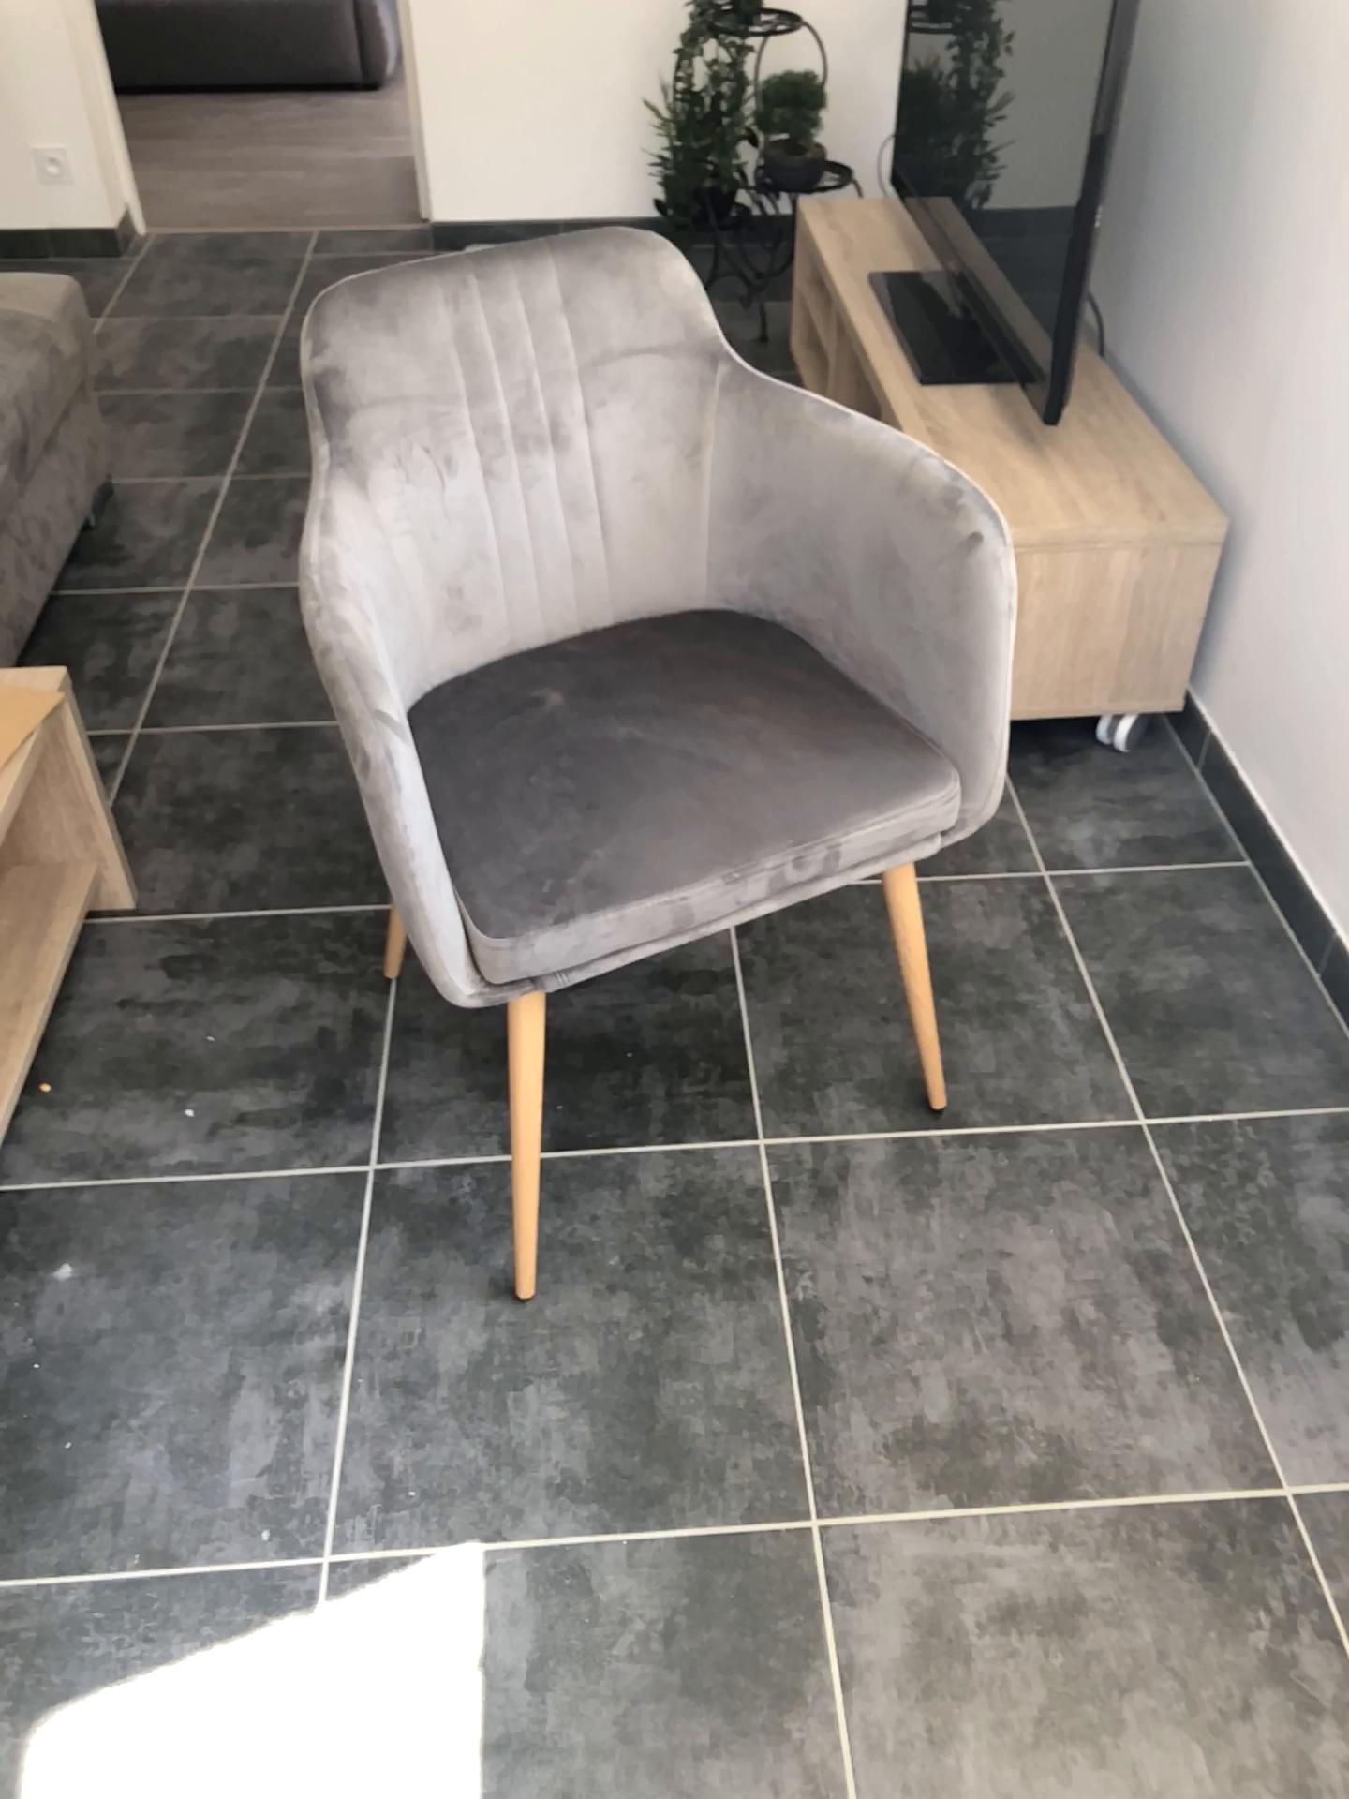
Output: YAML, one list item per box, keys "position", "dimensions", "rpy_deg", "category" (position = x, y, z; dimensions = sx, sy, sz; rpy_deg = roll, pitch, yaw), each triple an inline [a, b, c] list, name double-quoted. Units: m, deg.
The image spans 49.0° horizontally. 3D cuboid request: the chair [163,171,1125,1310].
- position: [-0.051, -0.171, 1.478]
  dimensions: [0.592, 0.825, 0.582]
  rpy_deg: [-19, 44, -20]
  category: "chair"
